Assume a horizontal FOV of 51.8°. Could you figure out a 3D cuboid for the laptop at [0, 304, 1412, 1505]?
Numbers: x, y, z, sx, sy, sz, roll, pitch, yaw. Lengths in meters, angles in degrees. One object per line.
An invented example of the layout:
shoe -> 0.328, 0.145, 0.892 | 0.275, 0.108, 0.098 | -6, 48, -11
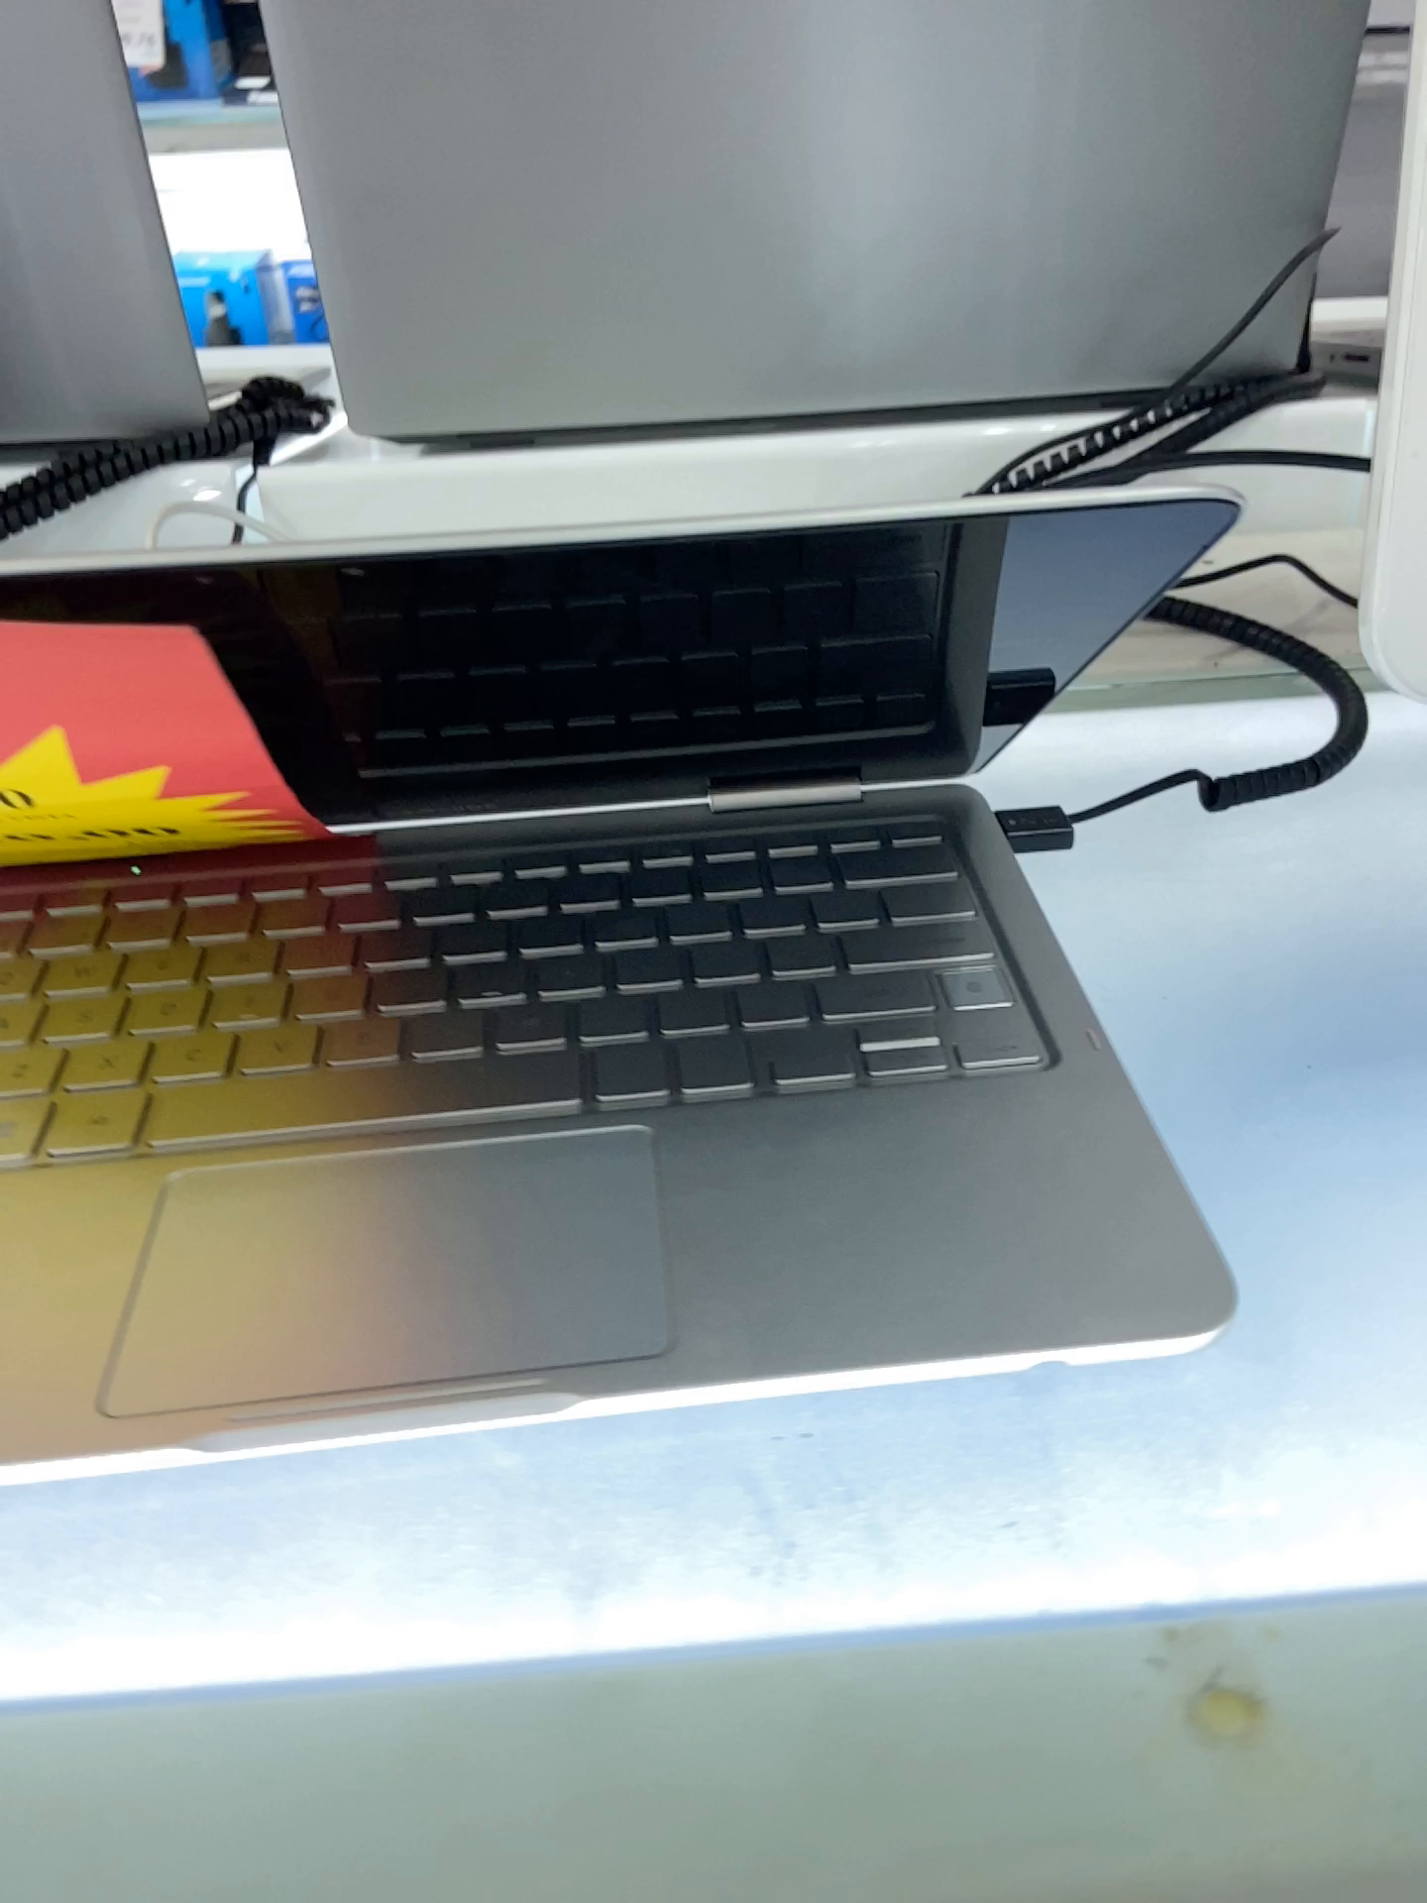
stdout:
laptop -> -0.069, -0.032, 0.300 | 0.306, 0.132, 0.202 | -5, 35, -3
